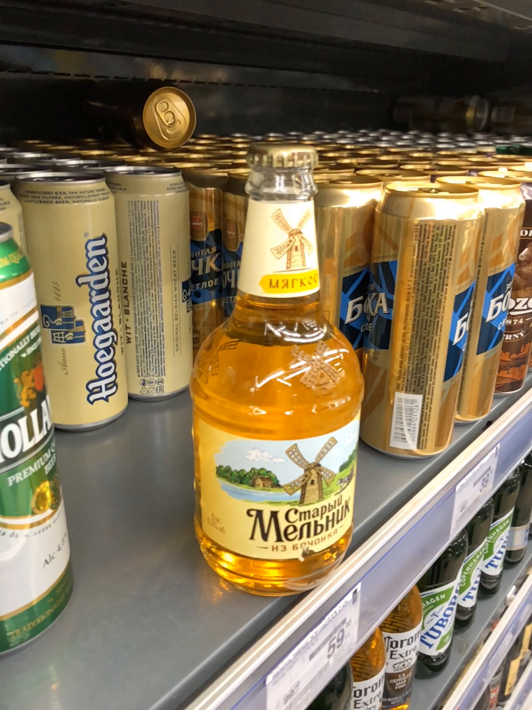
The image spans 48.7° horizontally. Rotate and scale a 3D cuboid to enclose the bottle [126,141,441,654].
[{"bbox_3d":[0.000,0.012,0.256,0.090,0.192,0.080,-10,25,-26],"label":"bottle"}]
